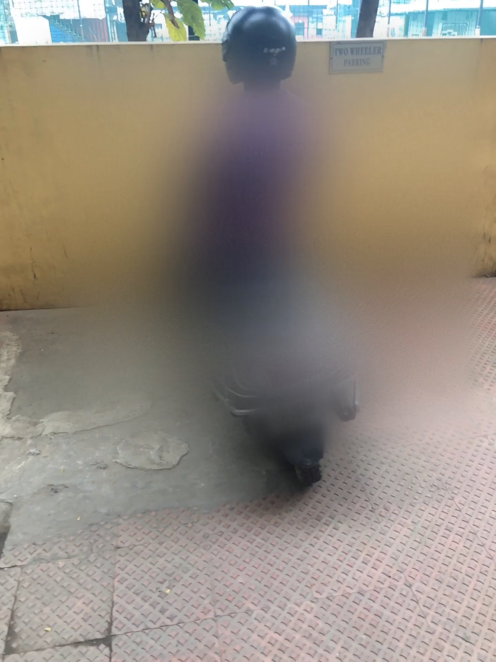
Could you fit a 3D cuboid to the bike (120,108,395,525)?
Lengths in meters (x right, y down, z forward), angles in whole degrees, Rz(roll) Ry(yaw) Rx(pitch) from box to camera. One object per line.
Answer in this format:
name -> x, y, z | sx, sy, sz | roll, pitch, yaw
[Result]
bike -> -0.130, -0.252, 2.444 | 0.643, 1.182, 1.723 | -7, 29, -12
